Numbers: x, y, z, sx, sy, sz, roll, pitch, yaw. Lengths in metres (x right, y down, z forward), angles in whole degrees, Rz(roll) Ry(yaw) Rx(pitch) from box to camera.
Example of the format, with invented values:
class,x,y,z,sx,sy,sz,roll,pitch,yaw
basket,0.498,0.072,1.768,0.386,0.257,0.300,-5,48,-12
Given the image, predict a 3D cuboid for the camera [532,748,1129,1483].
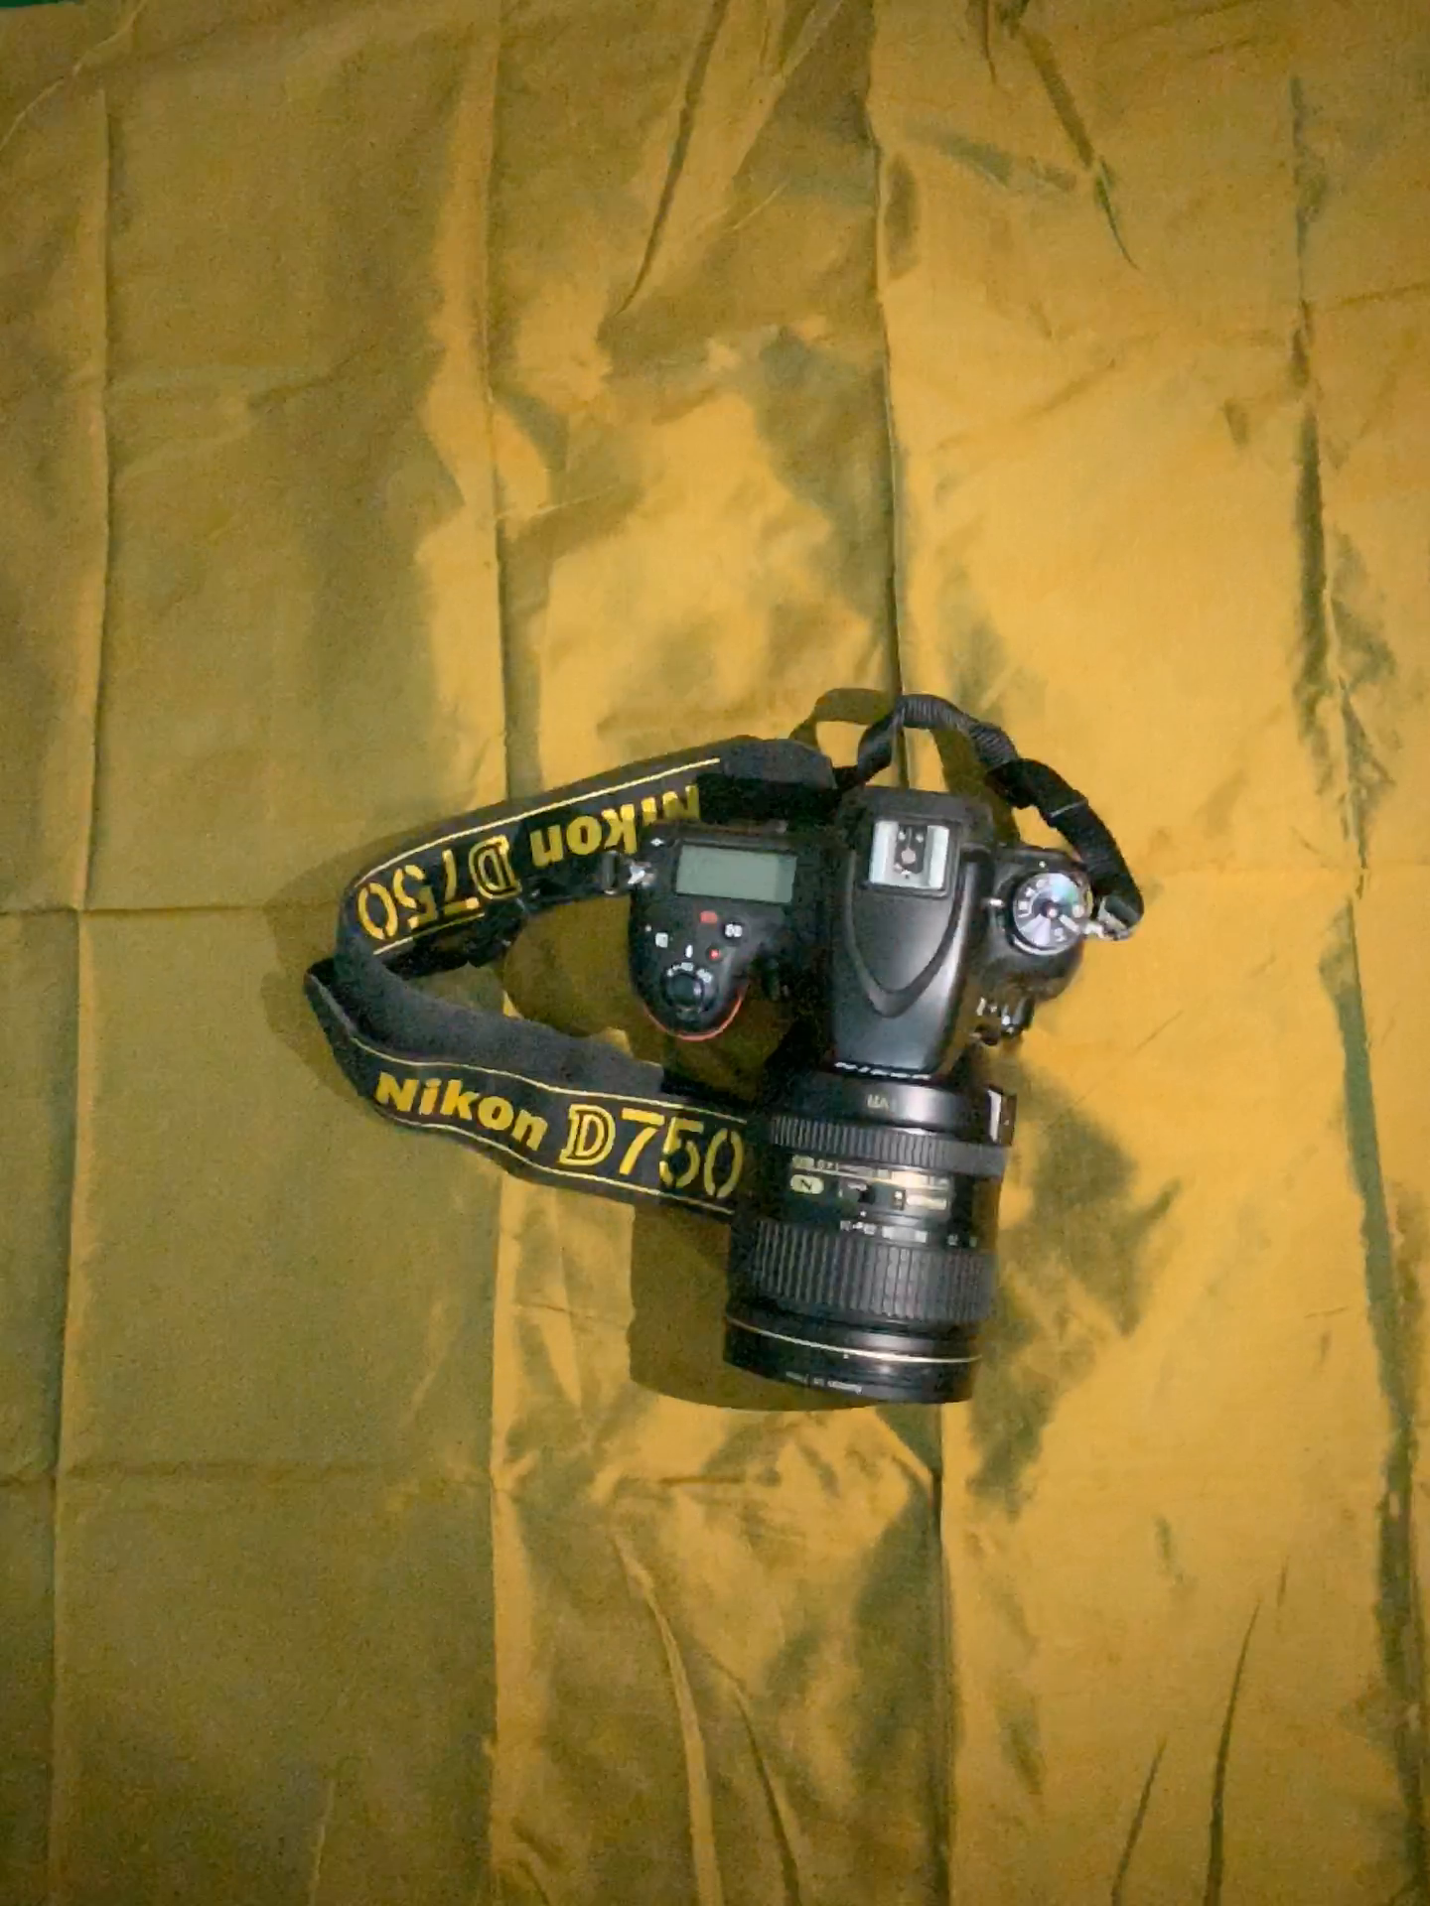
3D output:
class,x,y,z,sx,sy,sz,roll,pitch,yaw
camera,0.038,0.047,0.455,0.150,0.101,0.190,4,83,7
